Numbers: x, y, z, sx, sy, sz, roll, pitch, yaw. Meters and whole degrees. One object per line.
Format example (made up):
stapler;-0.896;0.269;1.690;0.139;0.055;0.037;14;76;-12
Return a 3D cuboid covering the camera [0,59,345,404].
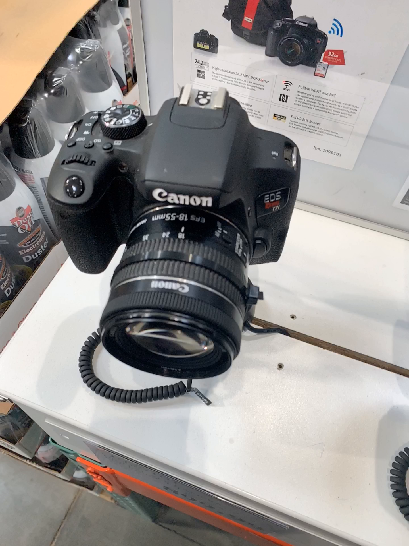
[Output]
camera;-0.016;-0.021;0.204;0.134;0.089;0.121;8;55;4
